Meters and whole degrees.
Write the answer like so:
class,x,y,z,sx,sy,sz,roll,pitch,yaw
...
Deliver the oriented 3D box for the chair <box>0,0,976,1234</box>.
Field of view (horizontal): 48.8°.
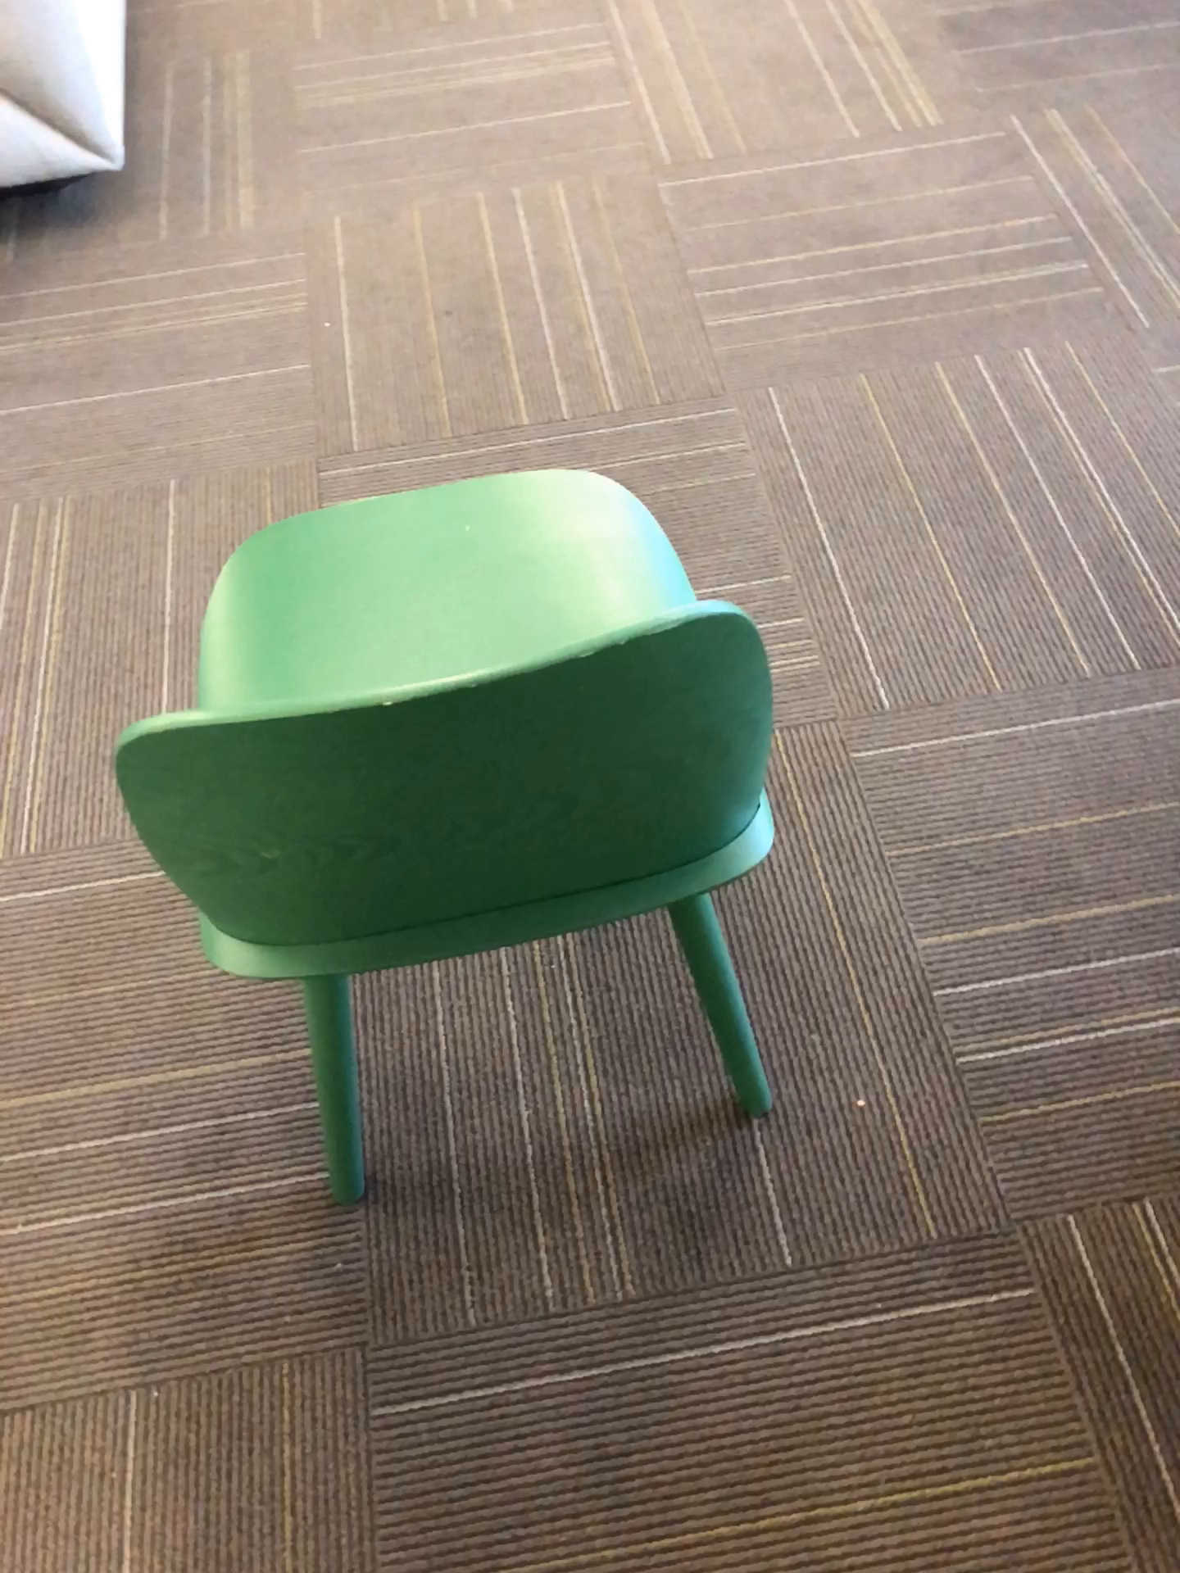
class,x,y,z,sx,sy,sz,roll,pitch,yaw
chair,-0.095,-0.064,1.032,0.500,0.778,0.502,-11,54,-4
